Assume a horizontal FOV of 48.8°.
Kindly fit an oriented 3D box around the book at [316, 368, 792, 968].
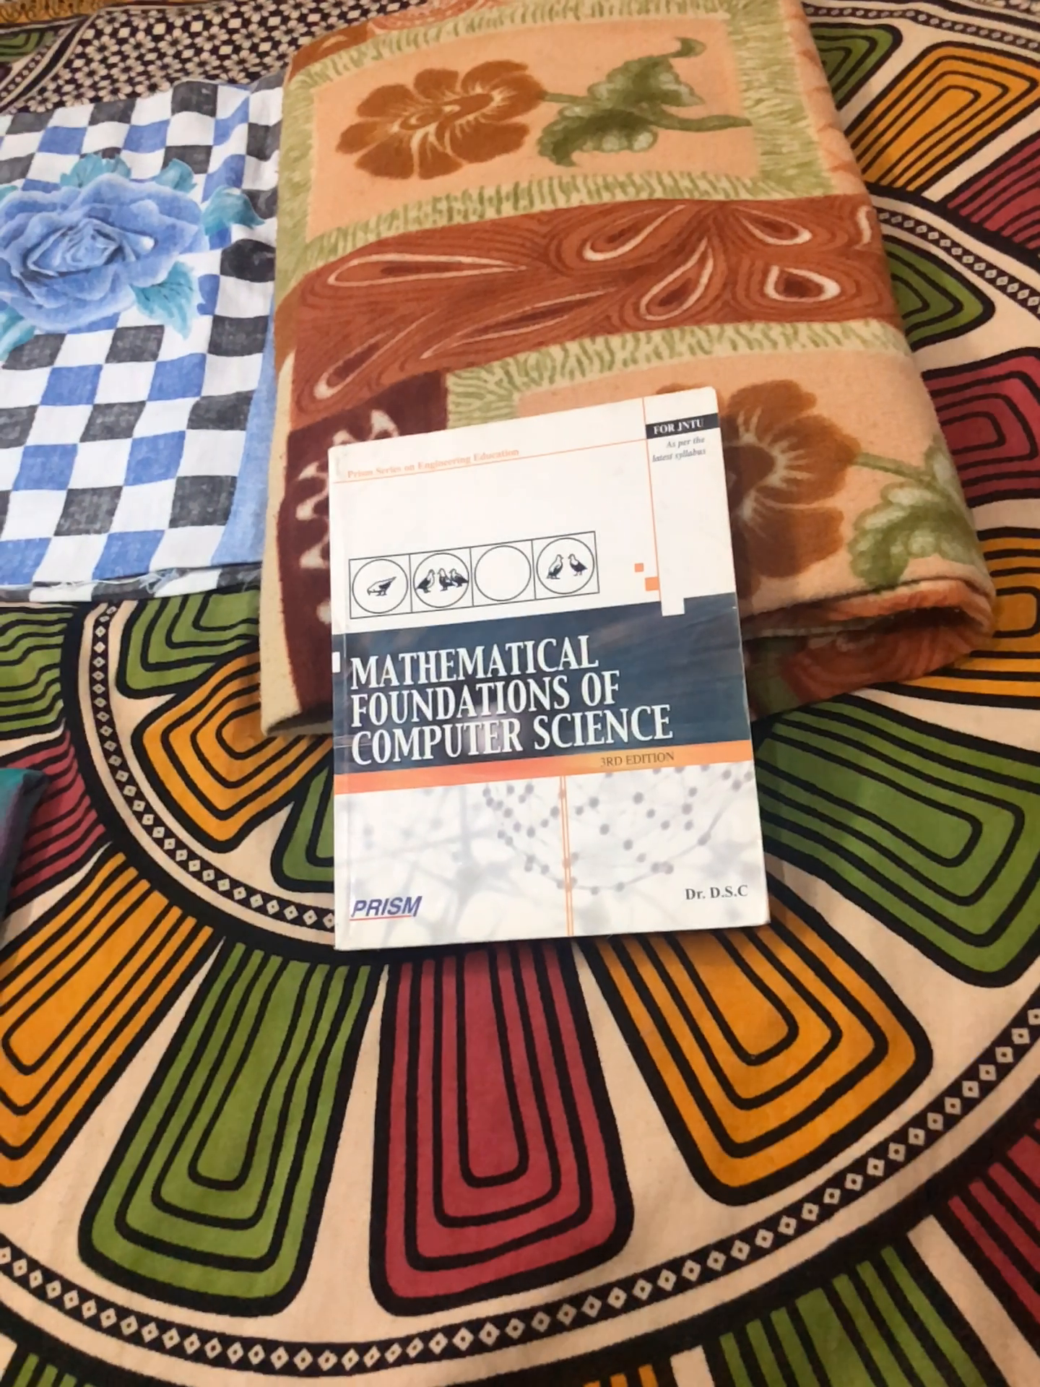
[{"bbox_3d":[0.010,-0.008,0.513,0.190,0.060,0.240,-7,72,12],"label":"book"}]
